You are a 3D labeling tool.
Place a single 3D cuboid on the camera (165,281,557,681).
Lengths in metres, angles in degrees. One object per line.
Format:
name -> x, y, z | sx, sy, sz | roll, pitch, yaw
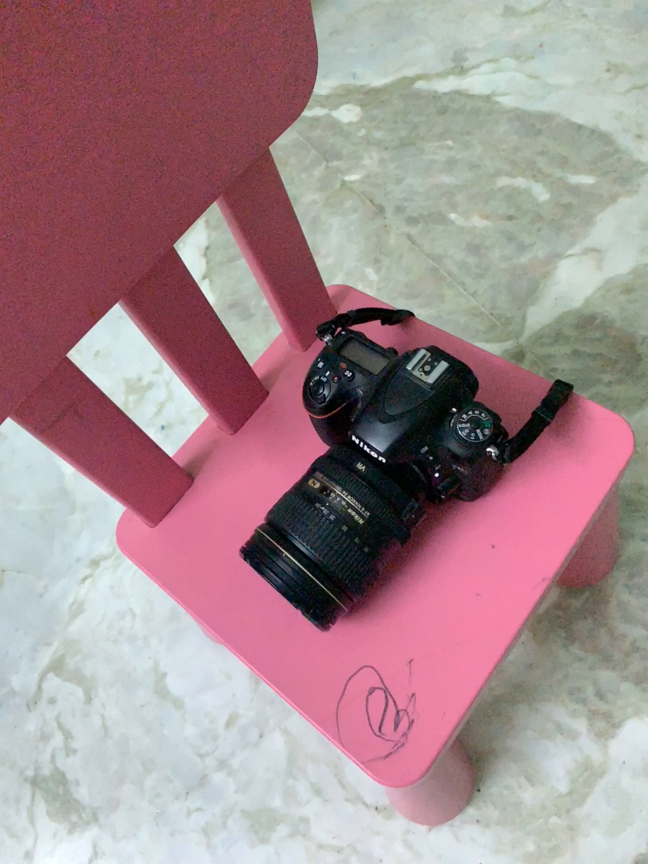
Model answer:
camera -> 0.028, 0.027, 0.440 | 0.140, 0.080, 0.210 | 35, 75, 25
